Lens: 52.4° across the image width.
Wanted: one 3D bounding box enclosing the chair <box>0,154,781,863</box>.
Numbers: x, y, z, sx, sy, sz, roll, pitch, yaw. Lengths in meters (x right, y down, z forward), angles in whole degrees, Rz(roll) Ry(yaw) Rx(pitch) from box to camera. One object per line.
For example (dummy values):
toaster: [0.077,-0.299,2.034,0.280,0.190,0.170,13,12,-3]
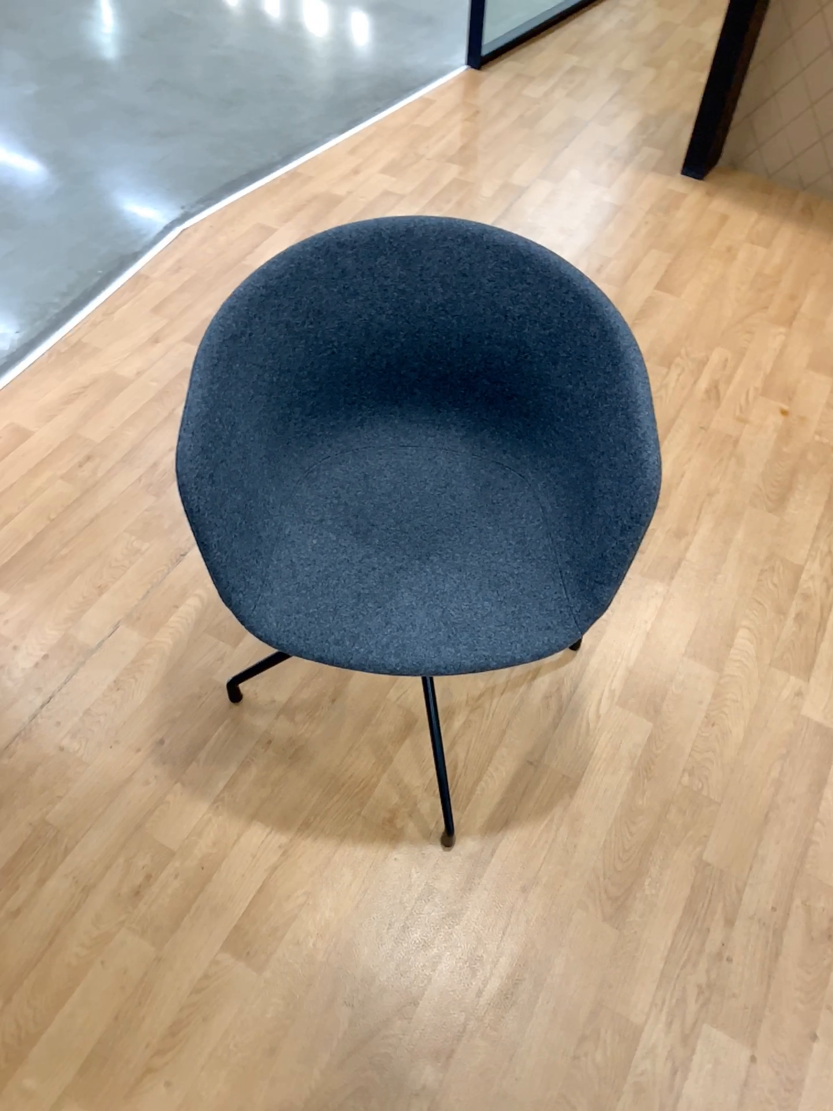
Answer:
chair: [-0.026,-0.054,1.242,0.710,0.685,0.735,3,52,1]
